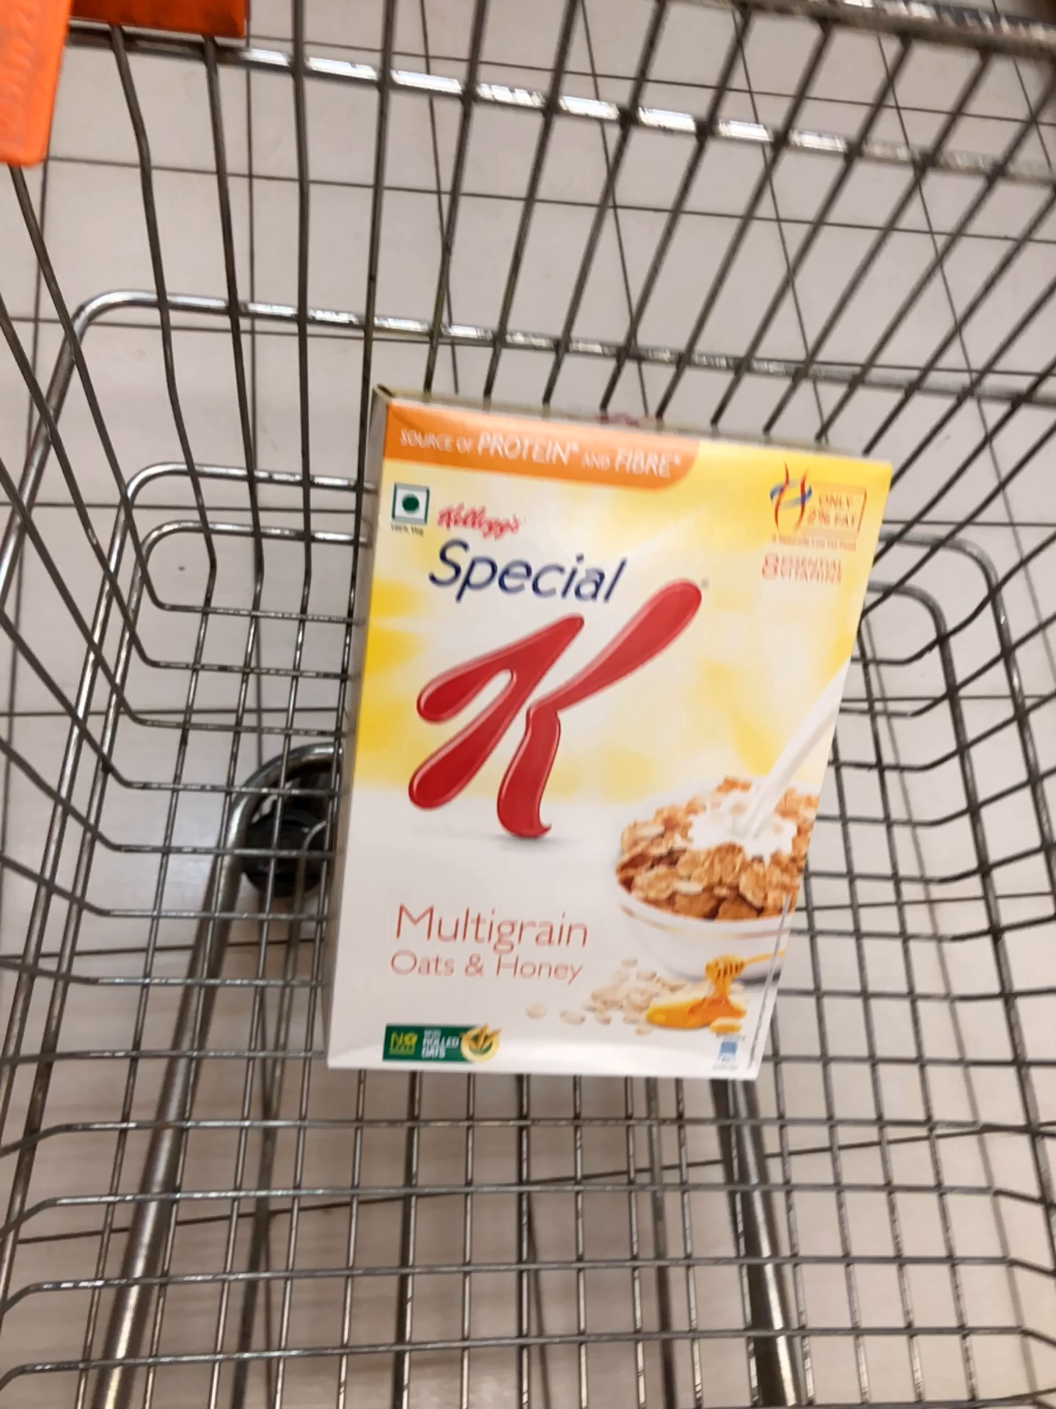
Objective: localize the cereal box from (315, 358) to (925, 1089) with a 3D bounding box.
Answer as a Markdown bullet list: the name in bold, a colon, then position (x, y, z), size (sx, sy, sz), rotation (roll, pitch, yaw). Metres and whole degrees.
- **cereal box**: position (0.021, 0.014, 0.479), size (0.190, 0.090, 0.269), rotation (5, 109, -11)
